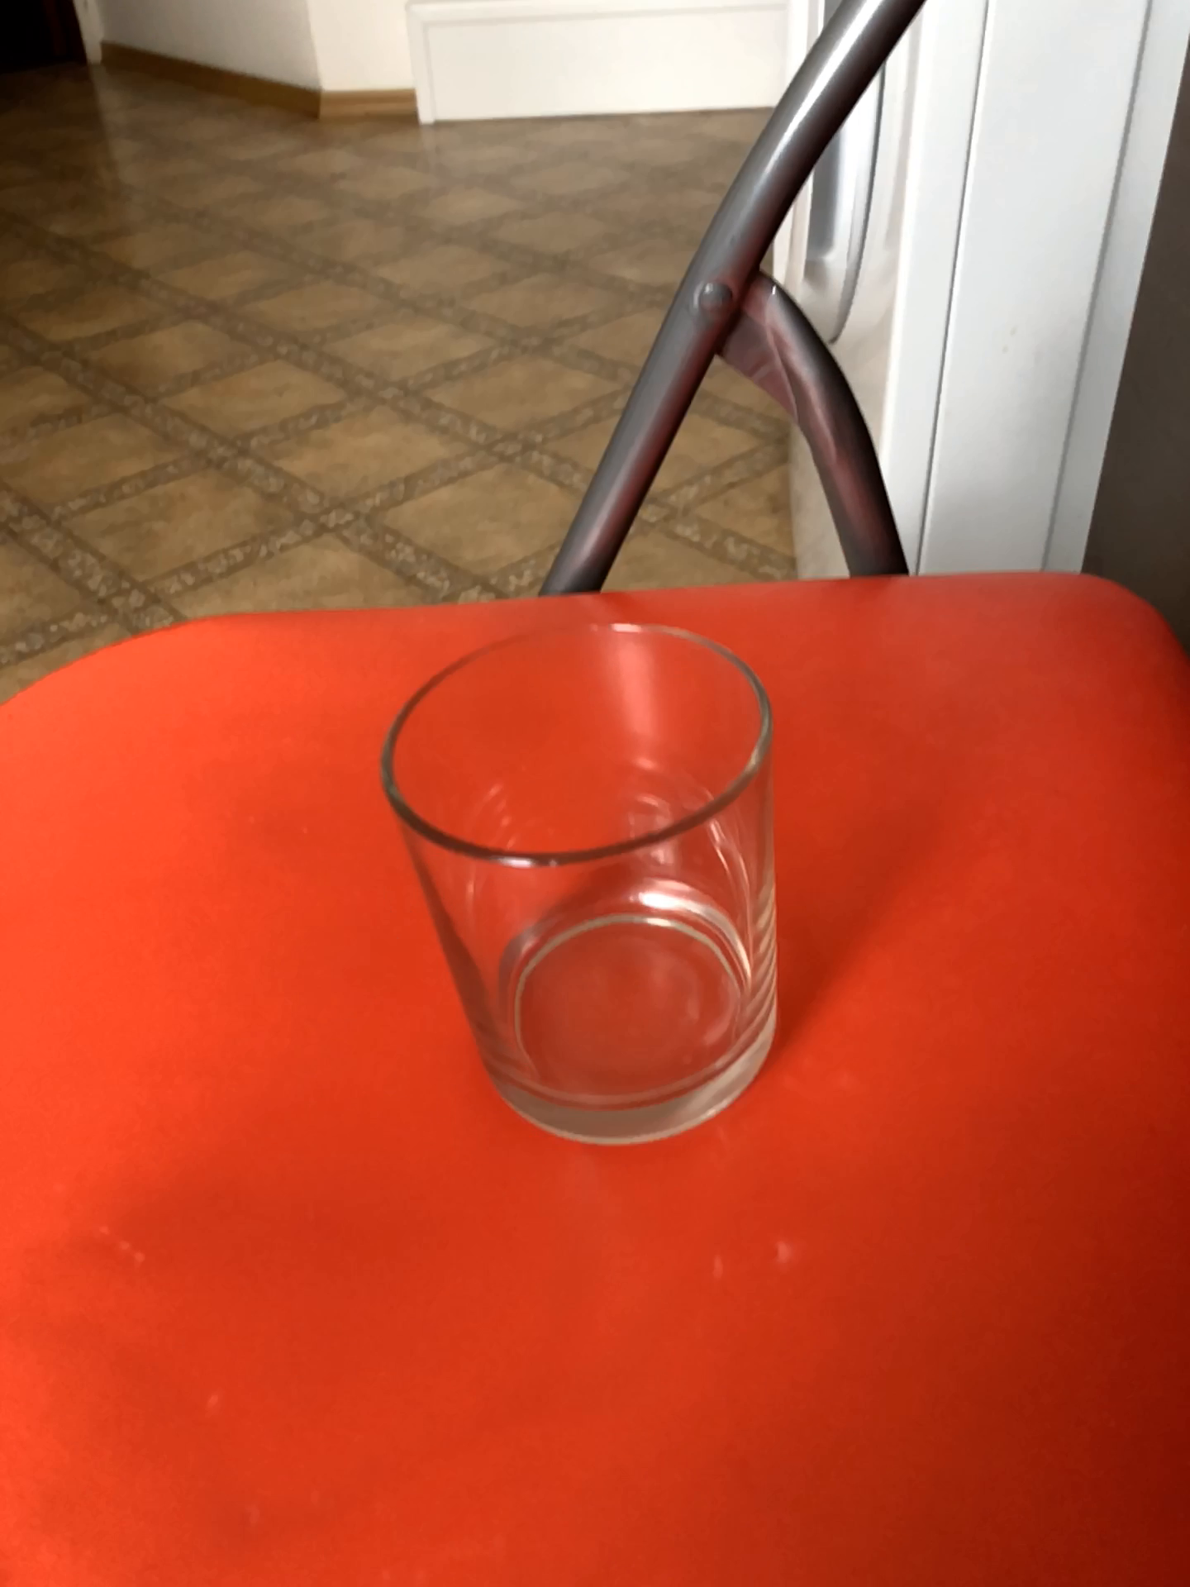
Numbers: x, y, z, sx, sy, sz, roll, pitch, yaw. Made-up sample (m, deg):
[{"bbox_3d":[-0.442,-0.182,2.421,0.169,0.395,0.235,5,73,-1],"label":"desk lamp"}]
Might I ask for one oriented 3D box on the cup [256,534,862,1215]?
[{"bbox_3d":[-0.004,0.012,0.263,0.080,0.082,0.078,-5,39,4],"label":"cup"}]
